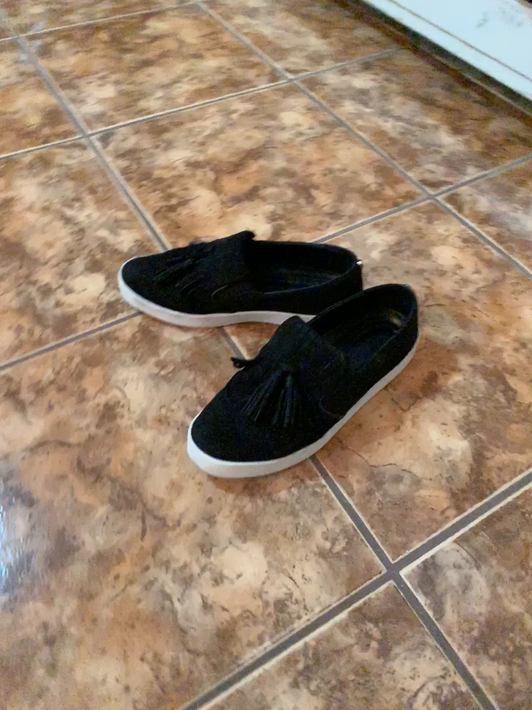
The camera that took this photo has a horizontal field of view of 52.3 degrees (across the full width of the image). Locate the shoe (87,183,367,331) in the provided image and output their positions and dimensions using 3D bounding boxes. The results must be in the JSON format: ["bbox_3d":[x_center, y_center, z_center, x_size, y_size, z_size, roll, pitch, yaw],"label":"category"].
[{"bbox_3d":[-0.035,-0.098,0.550,0.249,0.094,0.098,3,52,-1],"label":"shoe"}]

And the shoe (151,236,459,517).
[{"bbox_3d":[0.038,0.009,0.471,0.250,0.094,0.097,-34,61,-26],"label":"shoe"}]
